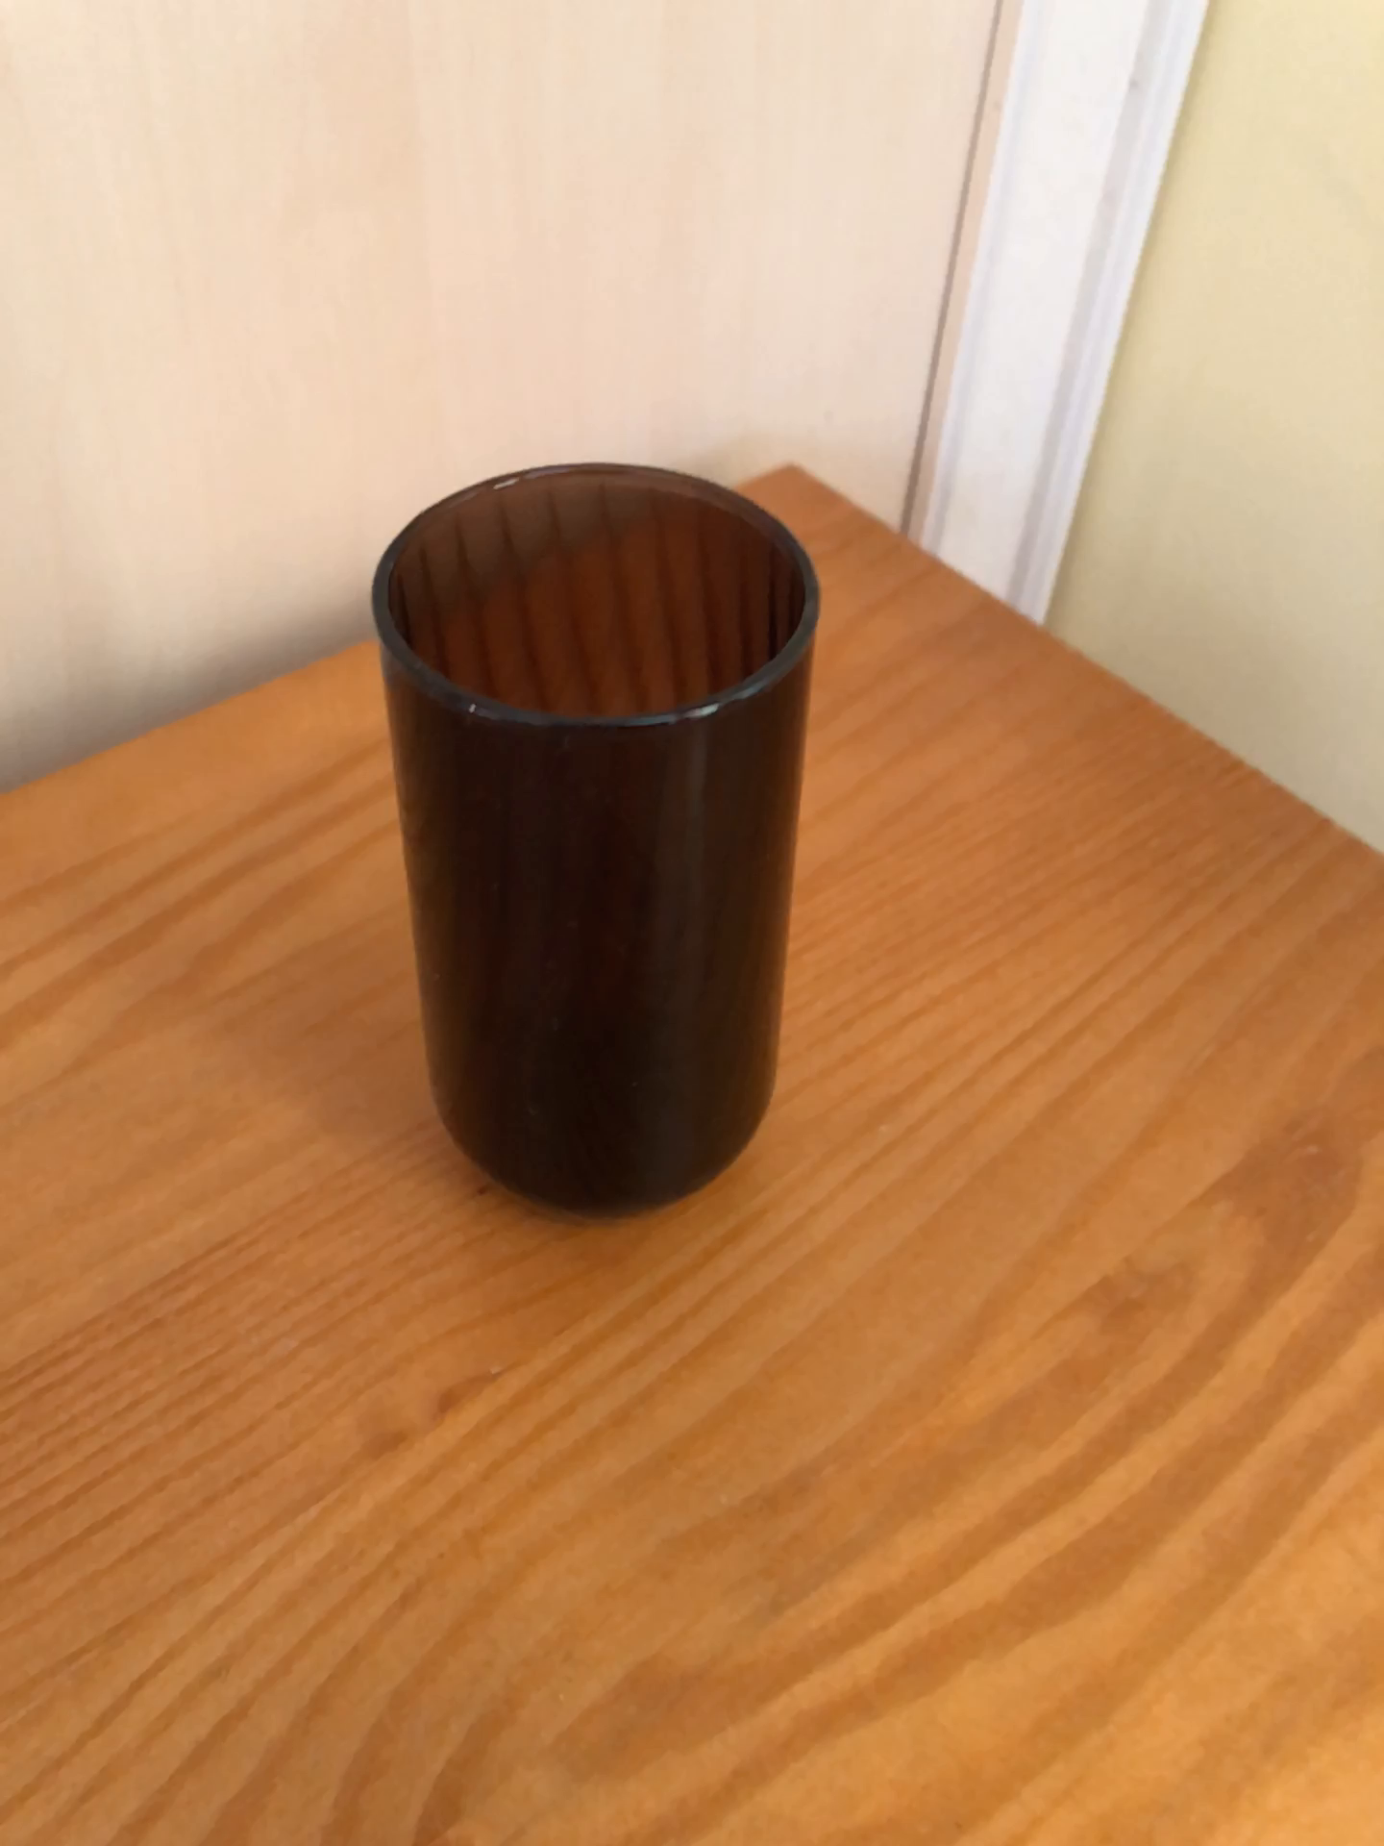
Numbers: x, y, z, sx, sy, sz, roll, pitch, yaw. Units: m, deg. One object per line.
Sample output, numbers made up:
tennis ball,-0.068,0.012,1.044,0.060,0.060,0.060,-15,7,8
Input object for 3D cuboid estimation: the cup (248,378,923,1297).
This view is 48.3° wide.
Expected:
cup,-0.014,-0.009,0.235,0.061,0.112,0.061,2,47,-2
